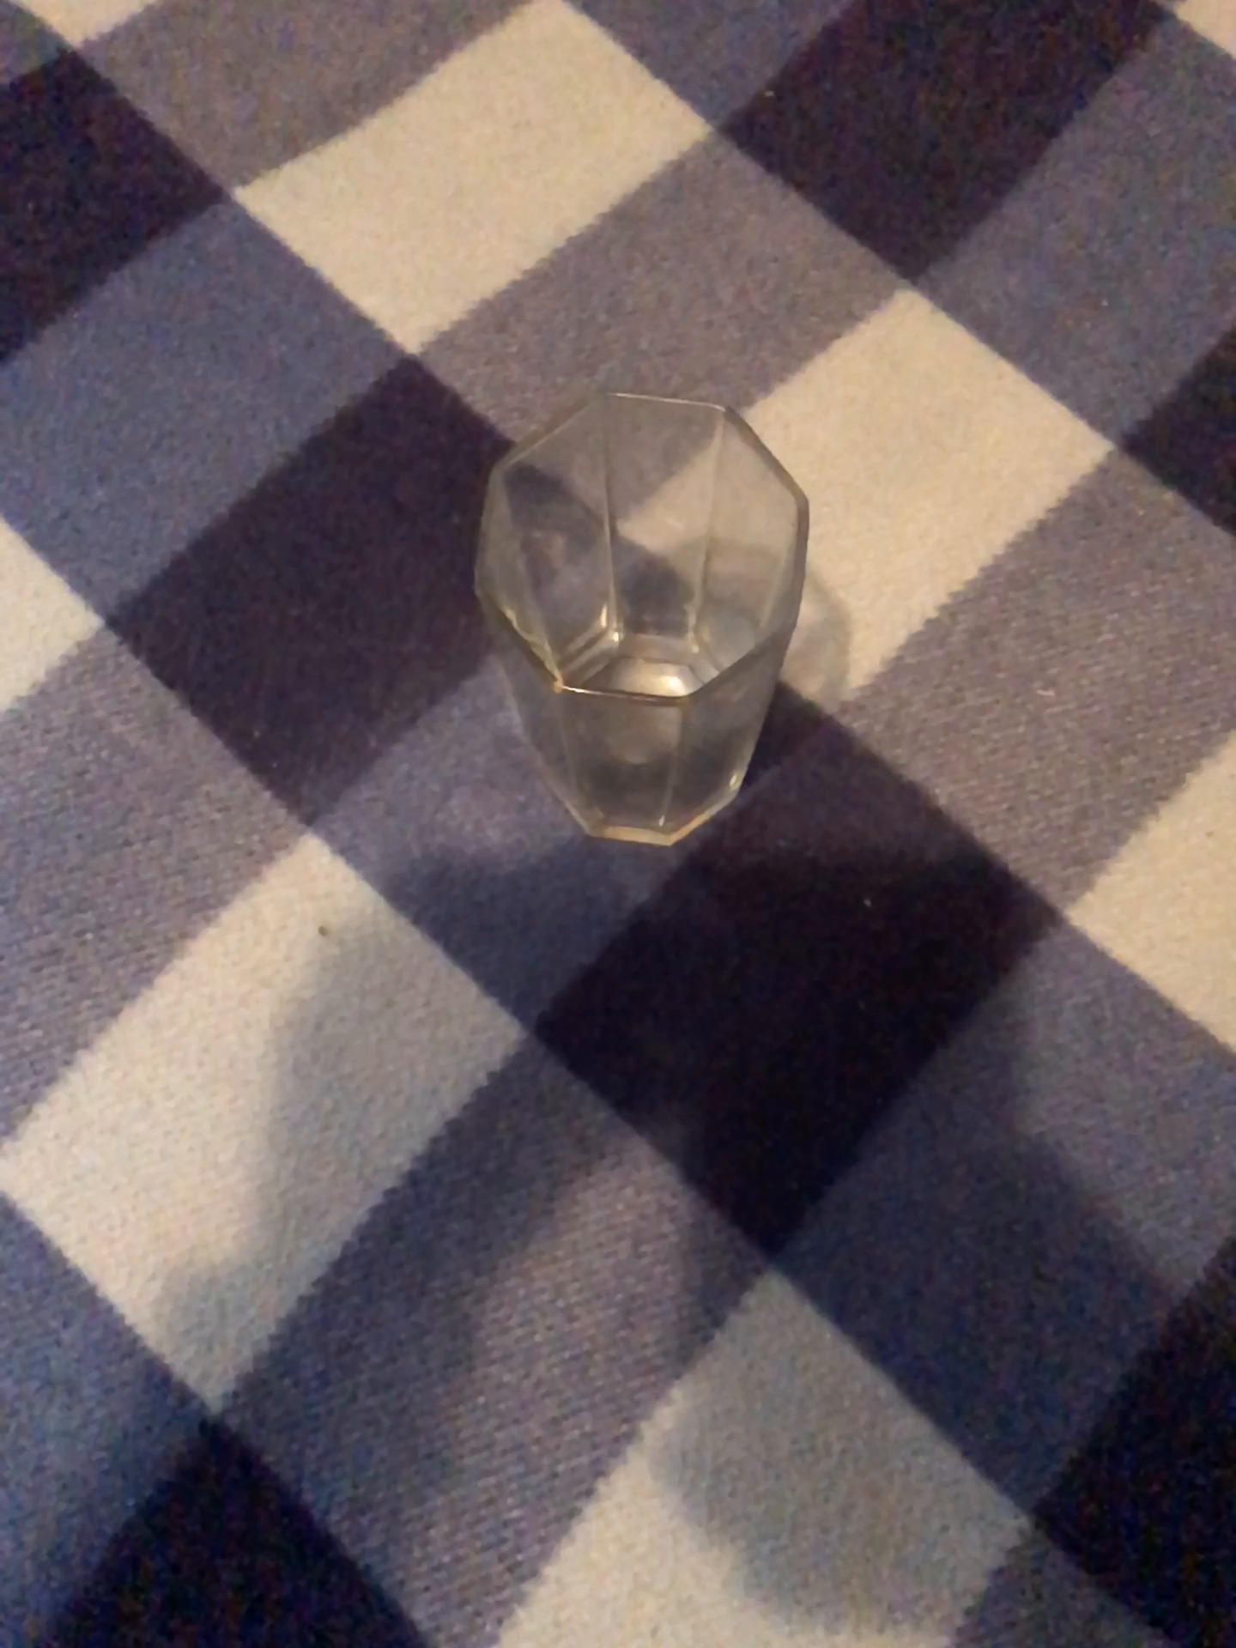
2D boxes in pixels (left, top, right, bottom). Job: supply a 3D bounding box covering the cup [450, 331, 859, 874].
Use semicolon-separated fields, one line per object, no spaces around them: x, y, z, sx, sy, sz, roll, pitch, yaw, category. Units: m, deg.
0.005;-0.045;0.343;0.077;0.137;0.082;0;75;0;cup
